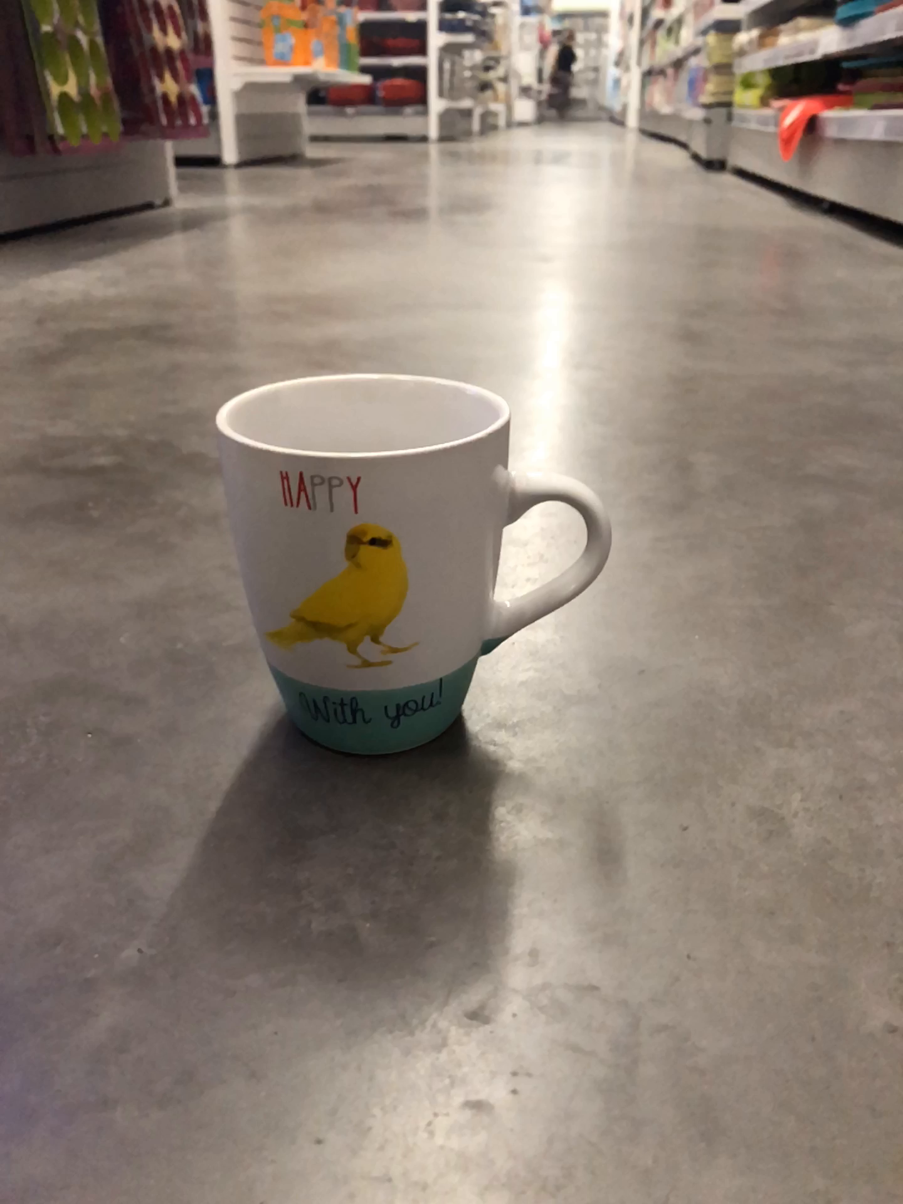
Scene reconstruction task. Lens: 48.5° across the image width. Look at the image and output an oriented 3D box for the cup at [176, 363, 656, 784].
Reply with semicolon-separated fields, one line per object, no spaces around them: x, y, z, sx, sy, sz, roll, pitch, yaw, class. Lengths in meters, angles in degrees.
-0.007;-0.015;0.335;0.129;0.107;0.098;2;25;3;cup
